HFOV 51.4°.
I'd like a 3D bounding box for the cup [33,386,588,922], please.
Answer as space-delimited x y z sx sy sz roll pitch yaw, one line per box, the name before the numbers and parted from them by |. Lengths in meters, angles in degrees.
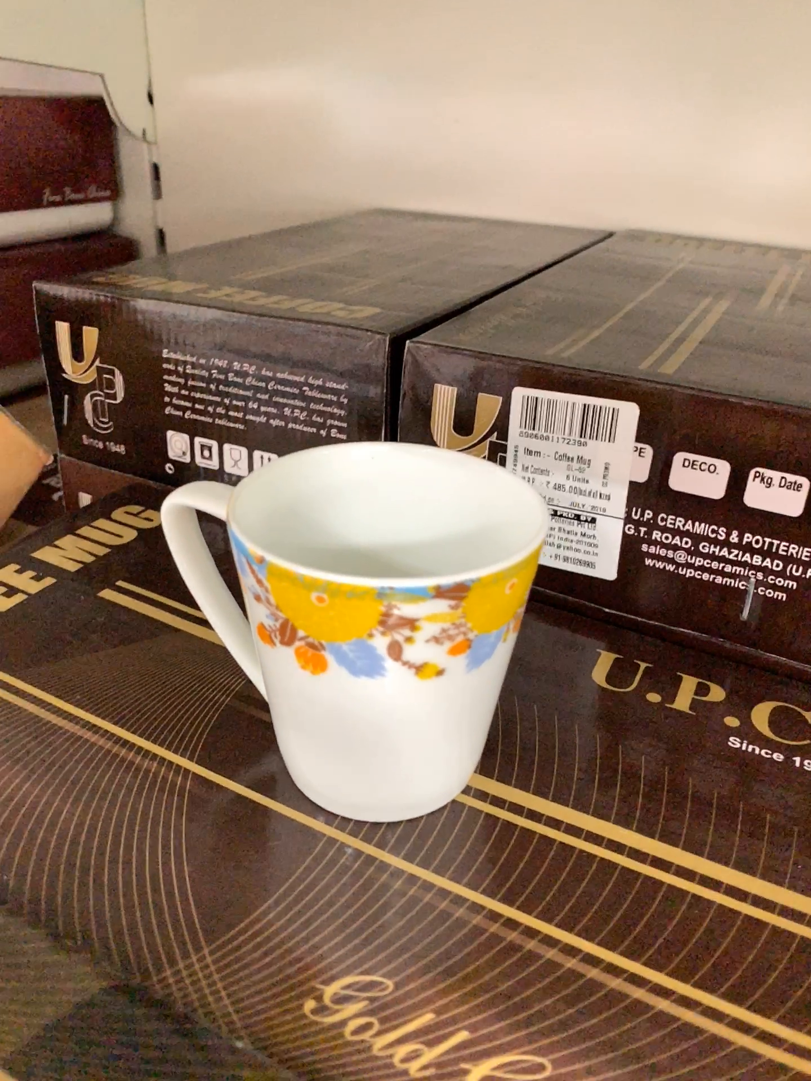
cup | -0.018 0.016 0.190 0.090 0.069 0.070 16 31 24
